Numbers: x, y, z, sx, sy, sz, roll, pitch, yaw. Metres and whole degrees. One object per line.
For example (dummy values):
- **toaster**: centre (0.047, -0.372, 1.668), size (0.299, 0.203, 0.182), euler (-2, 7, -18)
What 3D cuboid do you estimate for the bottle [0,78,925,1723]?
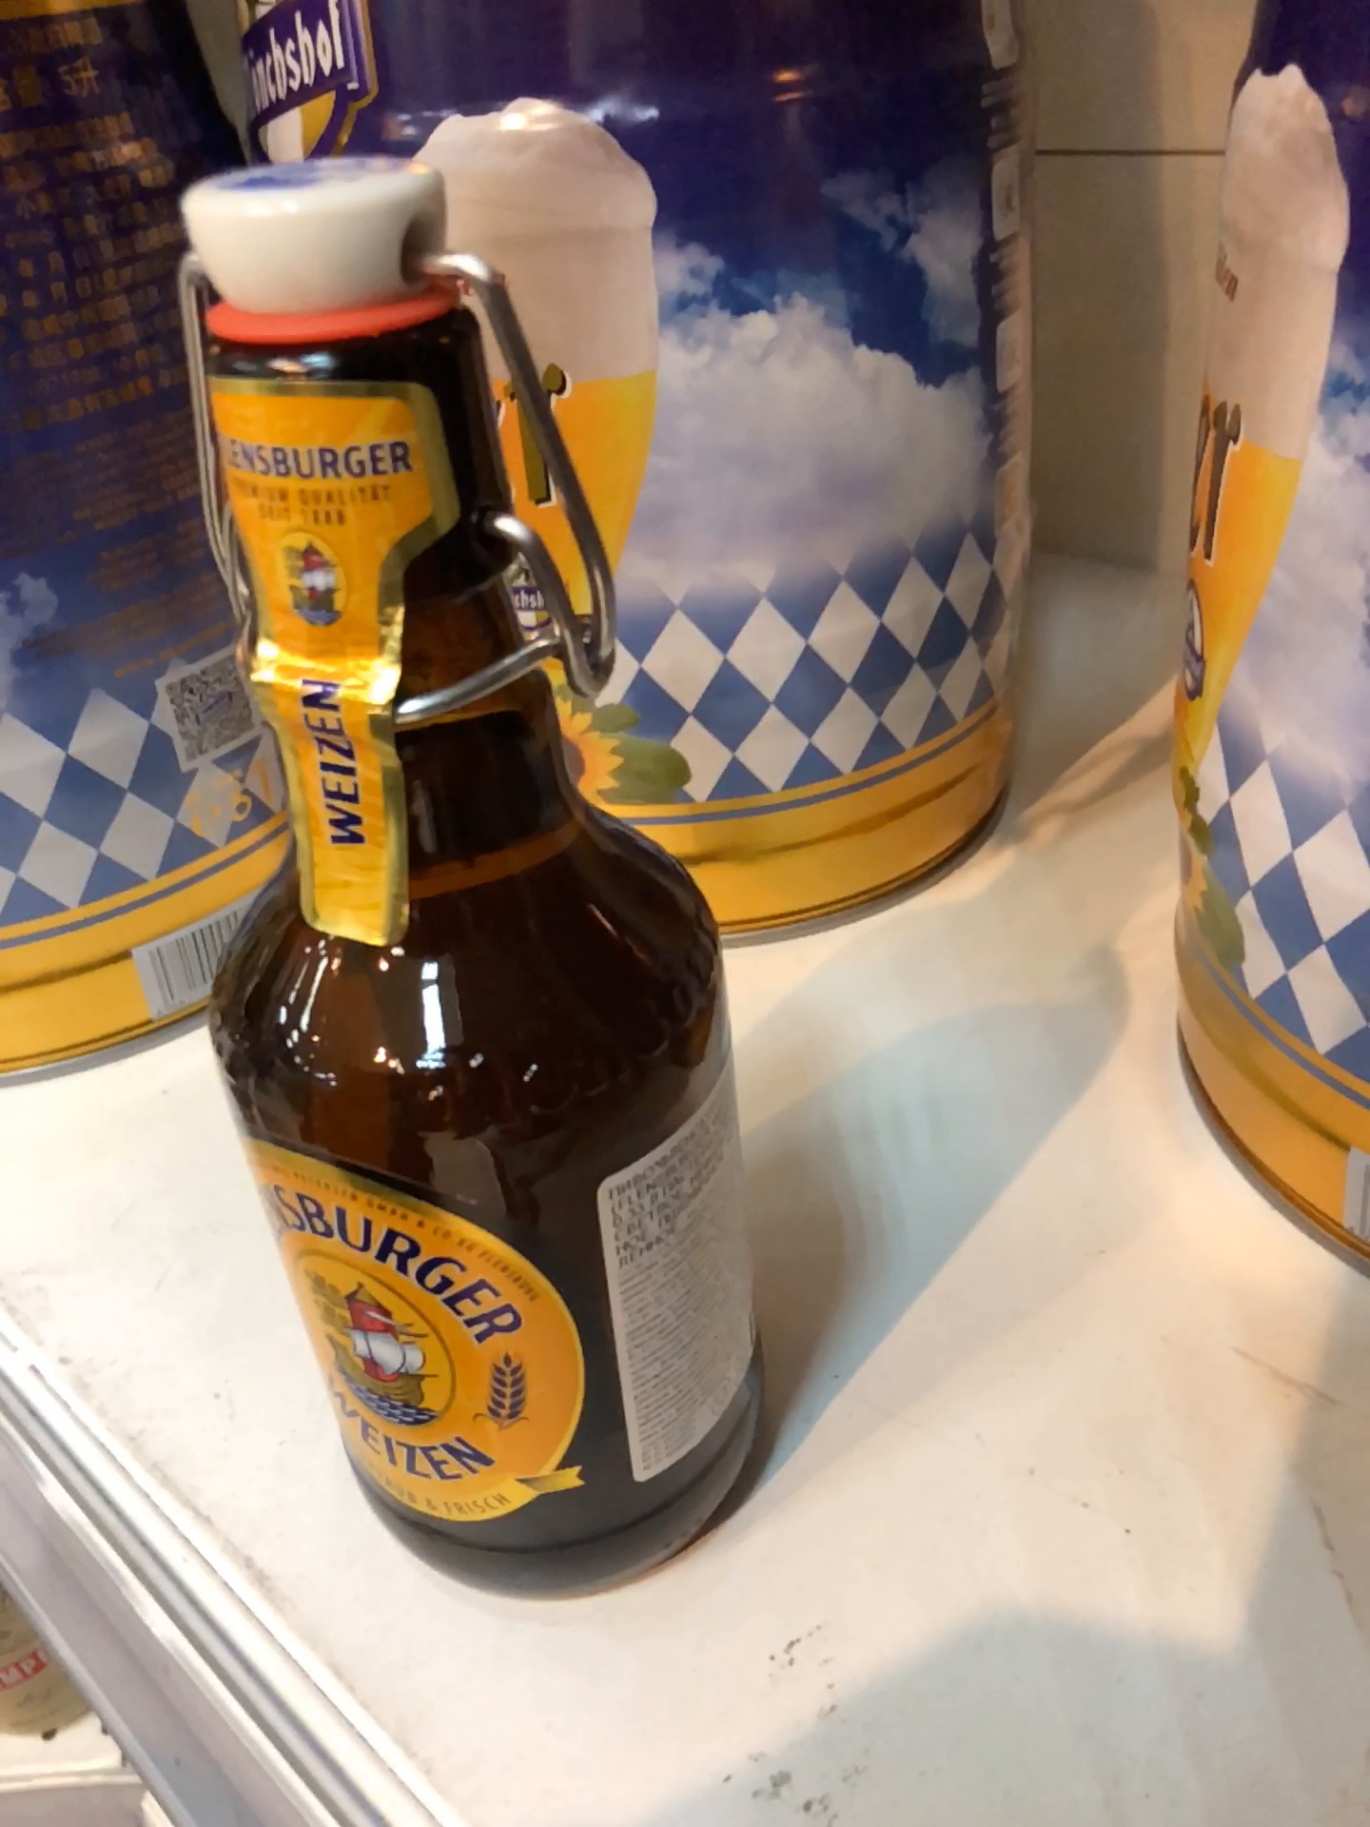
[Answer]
- **bottle**: centre (-0.025, 0.003, 0.205), size (0.080, 0.189, 0.080), euler (-6, 33, 4)
